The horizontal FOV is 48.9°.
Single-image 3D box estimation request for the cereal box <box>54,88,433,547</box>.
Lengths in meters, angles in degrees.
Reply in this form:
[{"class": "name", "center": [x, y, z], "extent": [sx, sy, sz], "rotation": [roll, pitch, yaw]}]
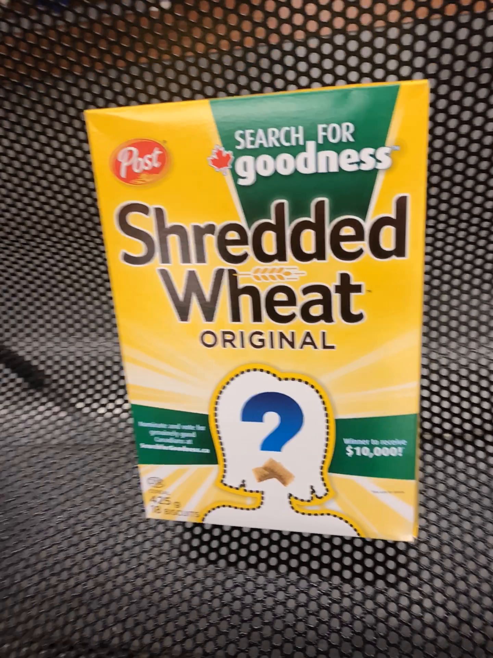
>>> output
[{"class": "cereal box", "center": [0.011, -0.002, 0.379], "extent": [0.210, 0.279, 0.090], "rotation": [0, 19, 13]}]
